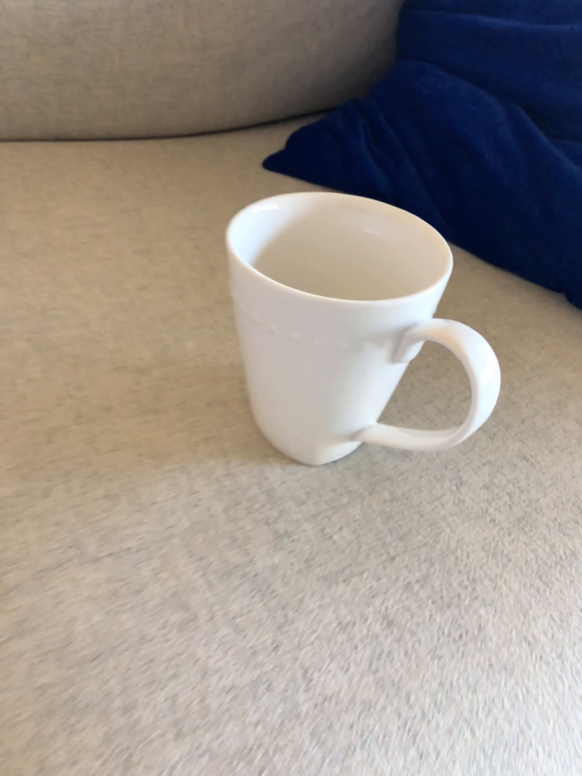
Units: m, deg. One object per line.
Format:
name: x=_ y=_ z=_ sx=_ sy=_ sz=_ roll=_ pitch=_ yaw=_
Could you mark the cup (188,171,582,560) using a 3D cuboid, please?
cup: x=0.032 y=-0.019 z=0.291 sx=0.100 sy=0.090 sz=0.130 roll=-20 pitch=51 yaw=-30
